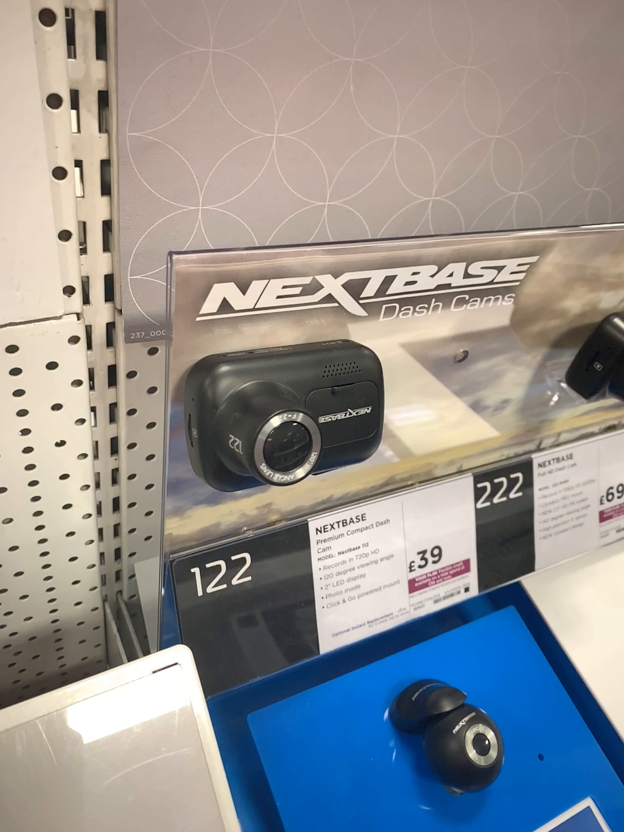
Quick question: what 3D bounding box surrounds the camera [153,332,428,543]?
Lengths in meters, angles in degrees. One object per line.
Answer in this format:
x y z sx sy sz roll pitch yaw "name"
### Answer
-0.009 0.002 0.235 0.080 0.050 0.060 -9 18 -24 "camera"
